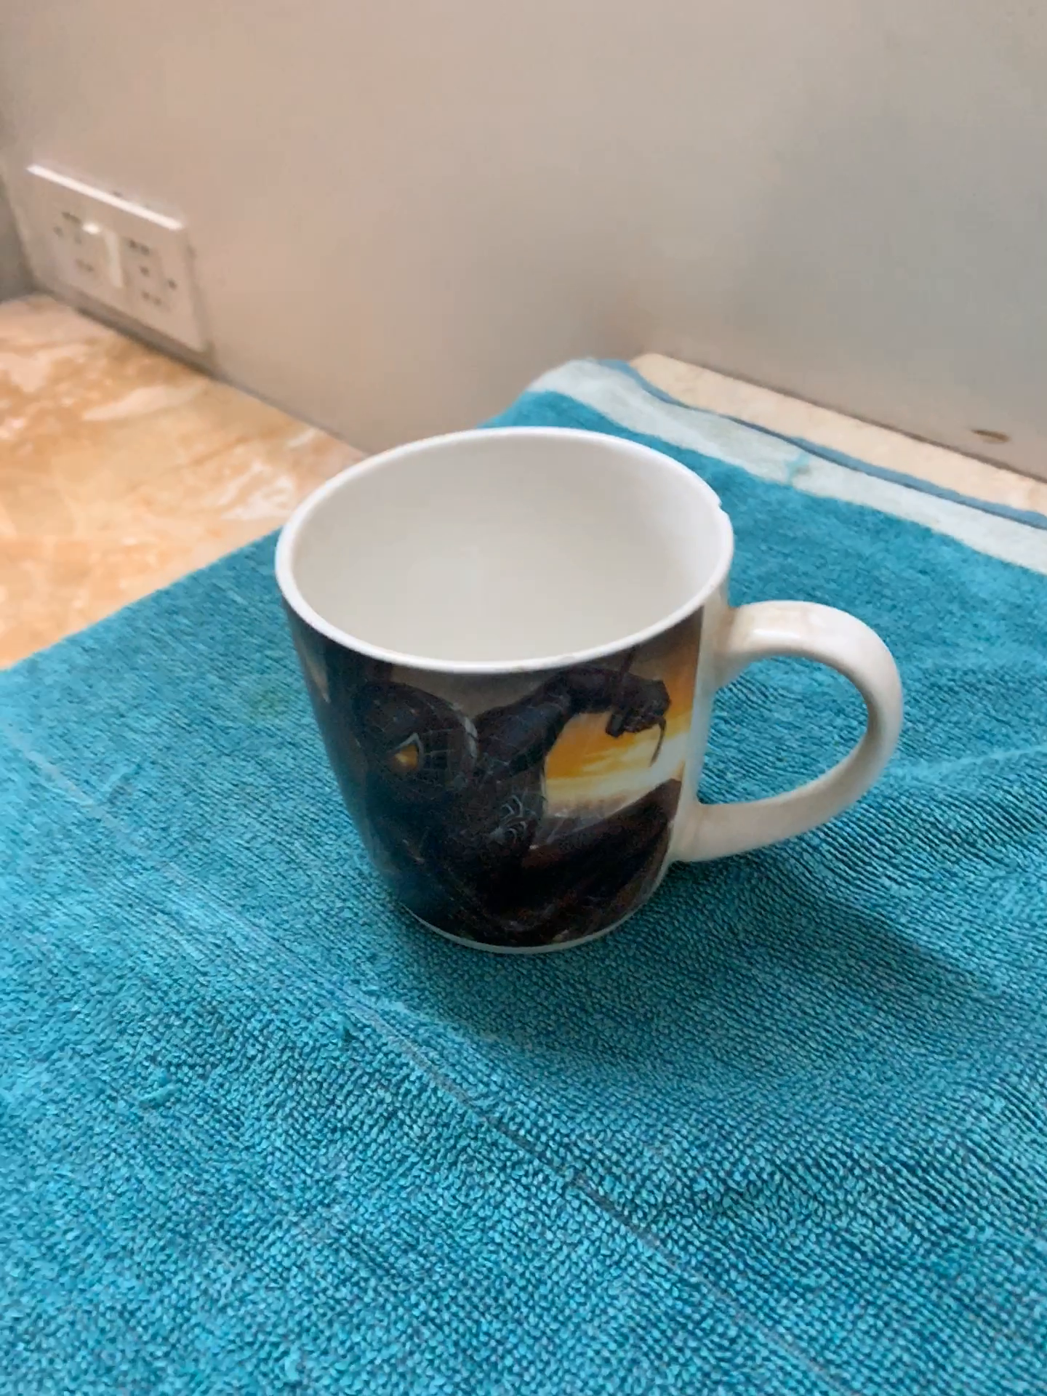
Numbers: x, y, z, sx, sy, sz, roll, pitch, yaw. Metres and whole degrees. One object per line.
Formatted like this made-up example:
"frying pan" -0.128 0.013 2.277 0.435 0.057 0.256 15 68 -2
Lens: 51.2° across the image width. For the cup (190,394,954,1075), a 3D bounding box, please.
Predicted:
"cup" 0.015 0.002 0.228 0.120 0.089 0.081 11 43 17
